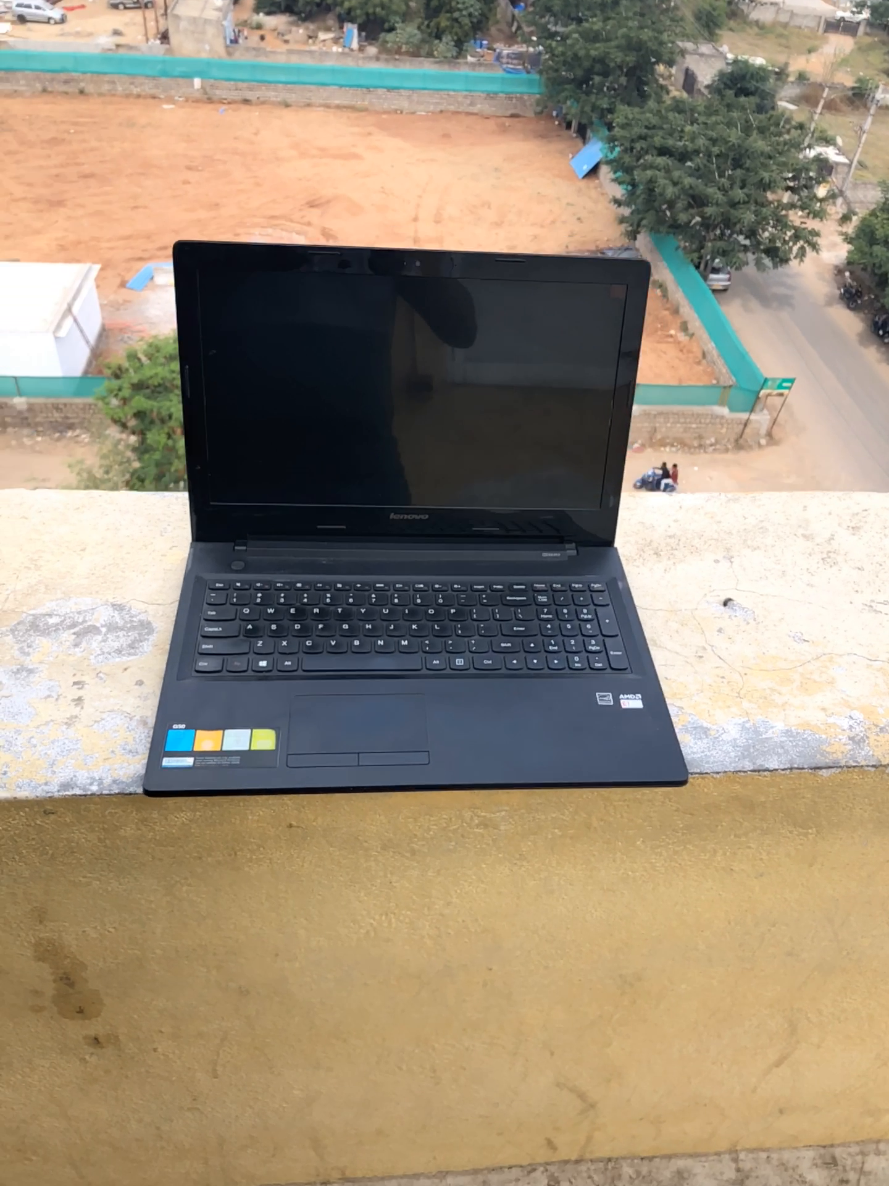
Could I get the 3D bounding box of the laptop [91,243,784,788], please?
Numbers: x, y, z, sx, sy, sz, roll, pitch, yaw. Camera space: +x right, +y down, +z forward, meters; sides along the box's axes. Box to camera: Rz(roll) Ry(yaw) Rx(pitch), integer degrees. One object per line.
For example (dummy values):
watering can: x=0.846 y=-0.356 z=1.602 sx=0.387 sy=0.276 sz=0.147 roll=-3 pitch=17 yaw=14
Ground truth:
laptop: x=-0.017 y=-0.065 z=0.712 sx=0.366 sy=0.229 sz=0.331 roll=0 pitch=42 yaw=-7
